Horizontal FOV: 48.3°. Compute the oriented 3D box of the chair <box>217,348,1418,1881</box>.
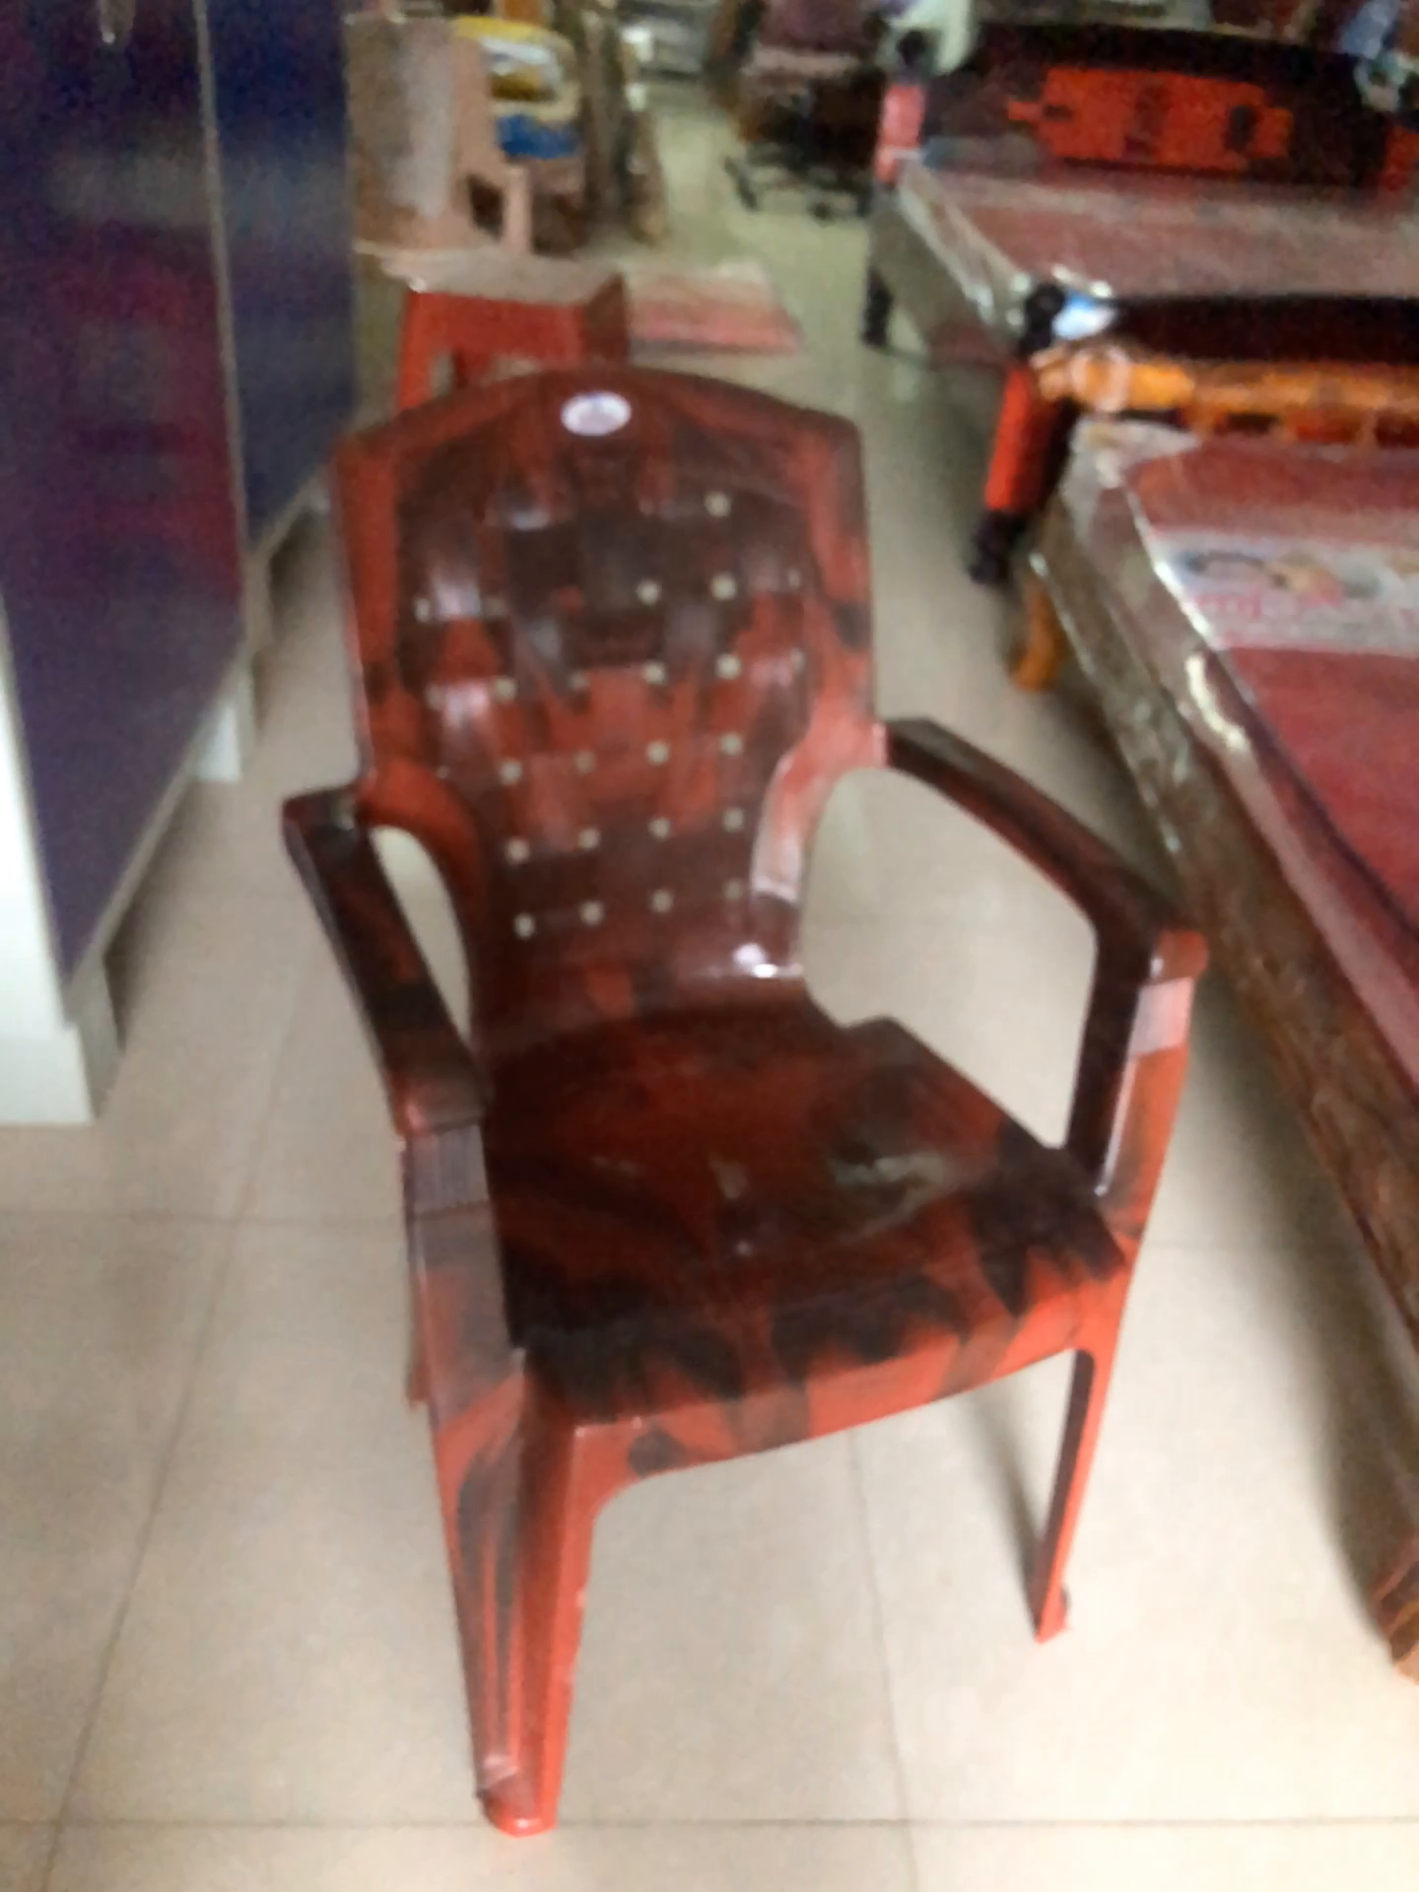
[{"bbox_3d":[-0.005,0.093,1.153,0.531,0.865,0.562,-9,37,-20],"label":"chair"}]
